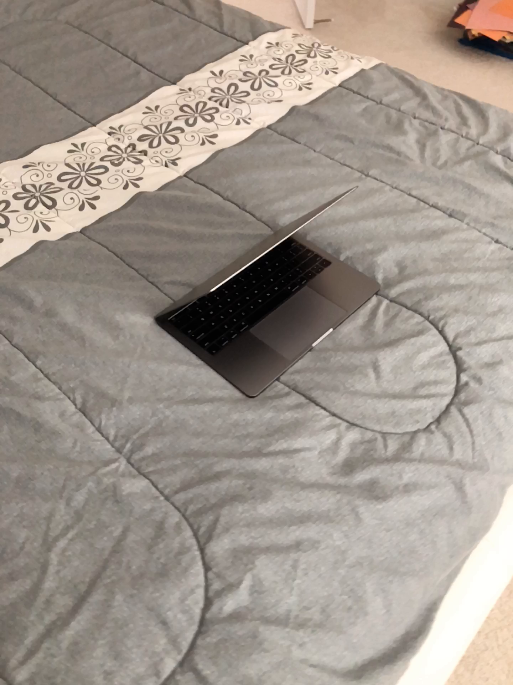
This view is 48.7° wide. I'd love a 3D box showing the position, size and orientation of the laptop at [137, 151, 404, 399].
[{"bbox_3d":[0.022,-0.102,0.763,0.195,0.140,0.279,36,60,26],"label":"laptop"}]
